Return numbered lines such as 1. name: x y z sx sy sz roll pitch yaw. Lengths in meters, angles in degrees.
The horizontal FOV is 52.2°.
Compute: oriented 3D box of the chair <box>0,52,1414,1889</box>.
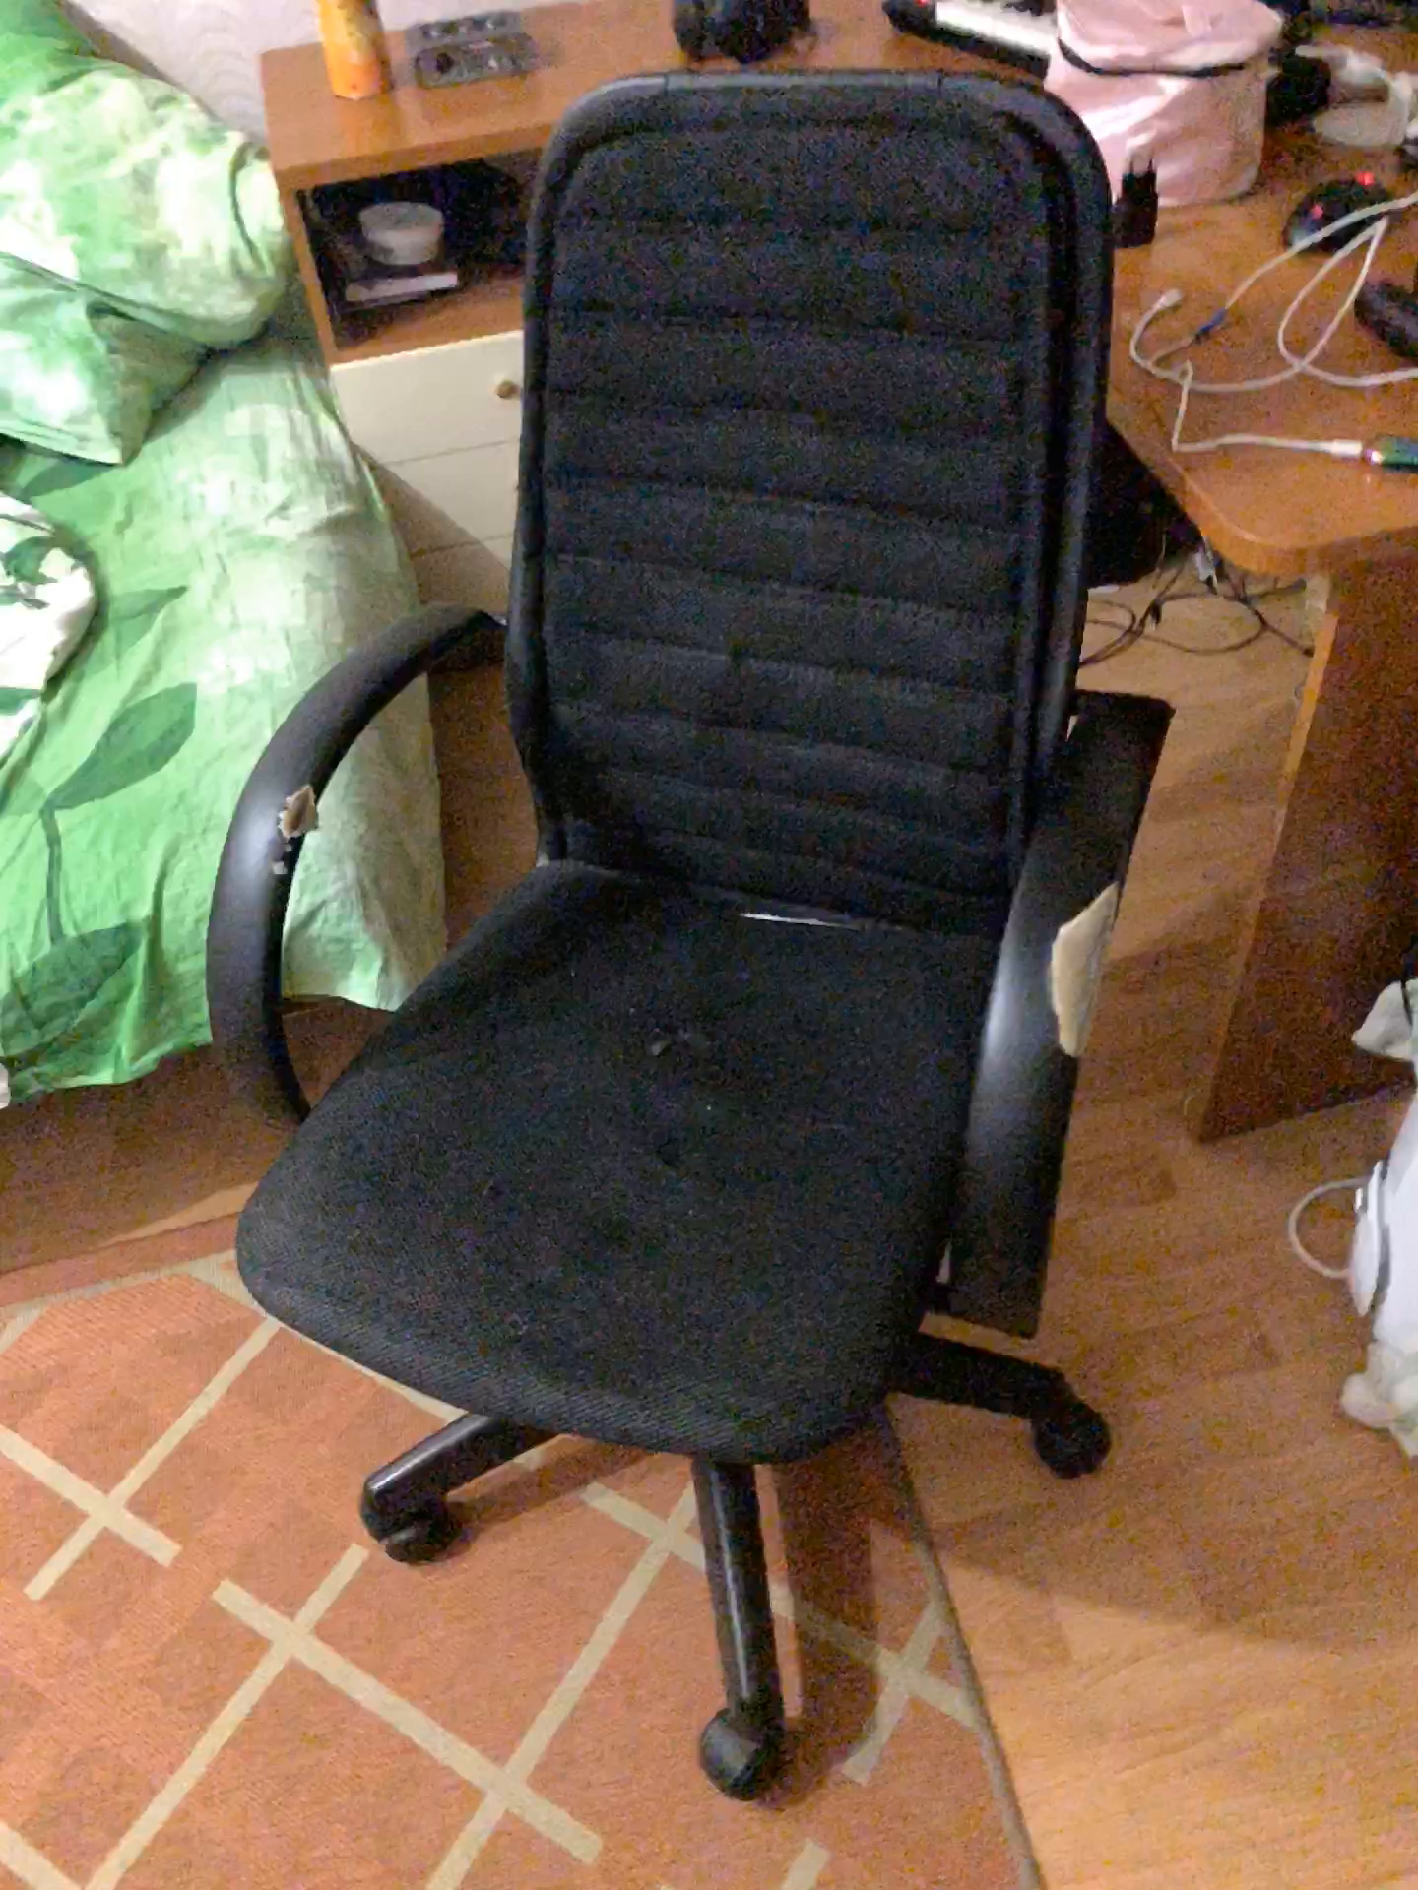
1. chair: -0.009 0.053 1.011 0.671 0.991 0.725 11 48 16
